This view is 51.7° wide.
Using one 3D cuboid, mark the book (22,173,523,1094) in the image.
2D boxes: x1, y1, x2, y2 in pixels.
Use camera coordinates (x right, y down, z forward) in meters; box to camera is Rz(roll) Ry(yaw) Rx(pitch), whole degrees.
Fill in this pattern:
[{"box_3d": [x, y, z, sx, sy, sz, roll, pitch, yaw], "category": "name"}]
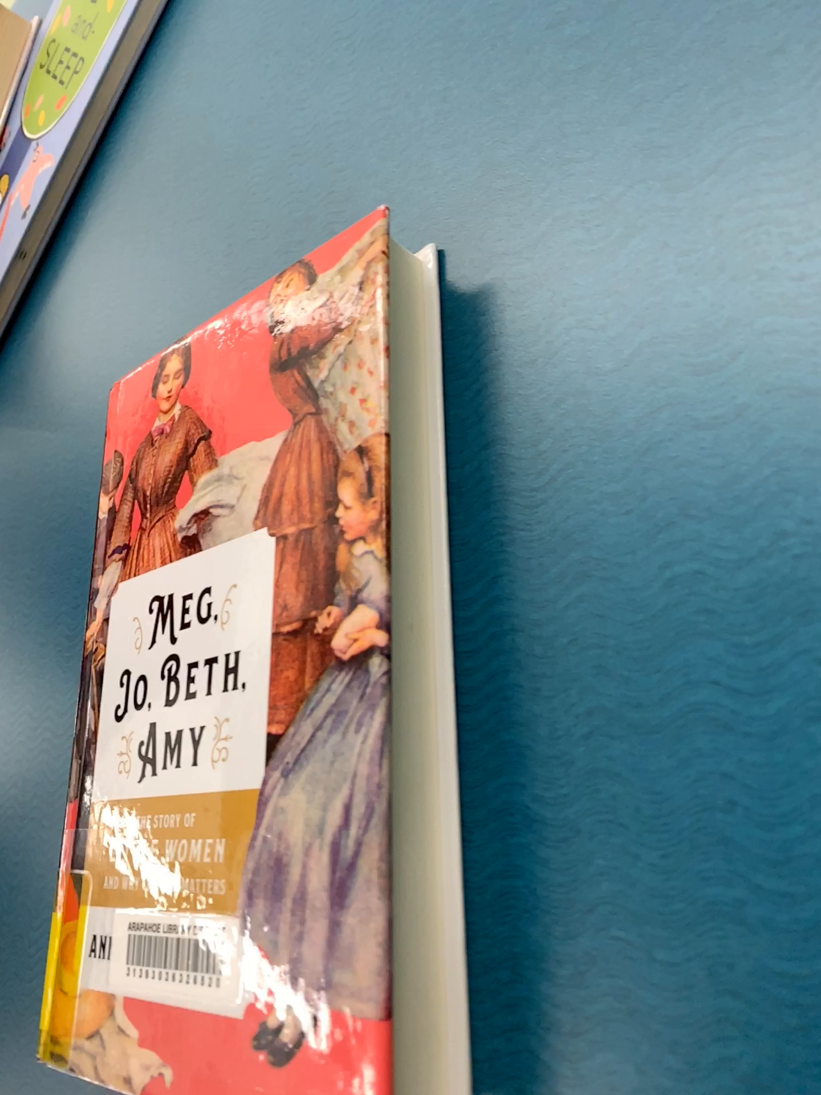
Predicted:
[{"box_3d": [-0.045, 0.029, 0.240, 0.141, 0.040, 0.220, -18, 66, 39], "category": "book"}]
